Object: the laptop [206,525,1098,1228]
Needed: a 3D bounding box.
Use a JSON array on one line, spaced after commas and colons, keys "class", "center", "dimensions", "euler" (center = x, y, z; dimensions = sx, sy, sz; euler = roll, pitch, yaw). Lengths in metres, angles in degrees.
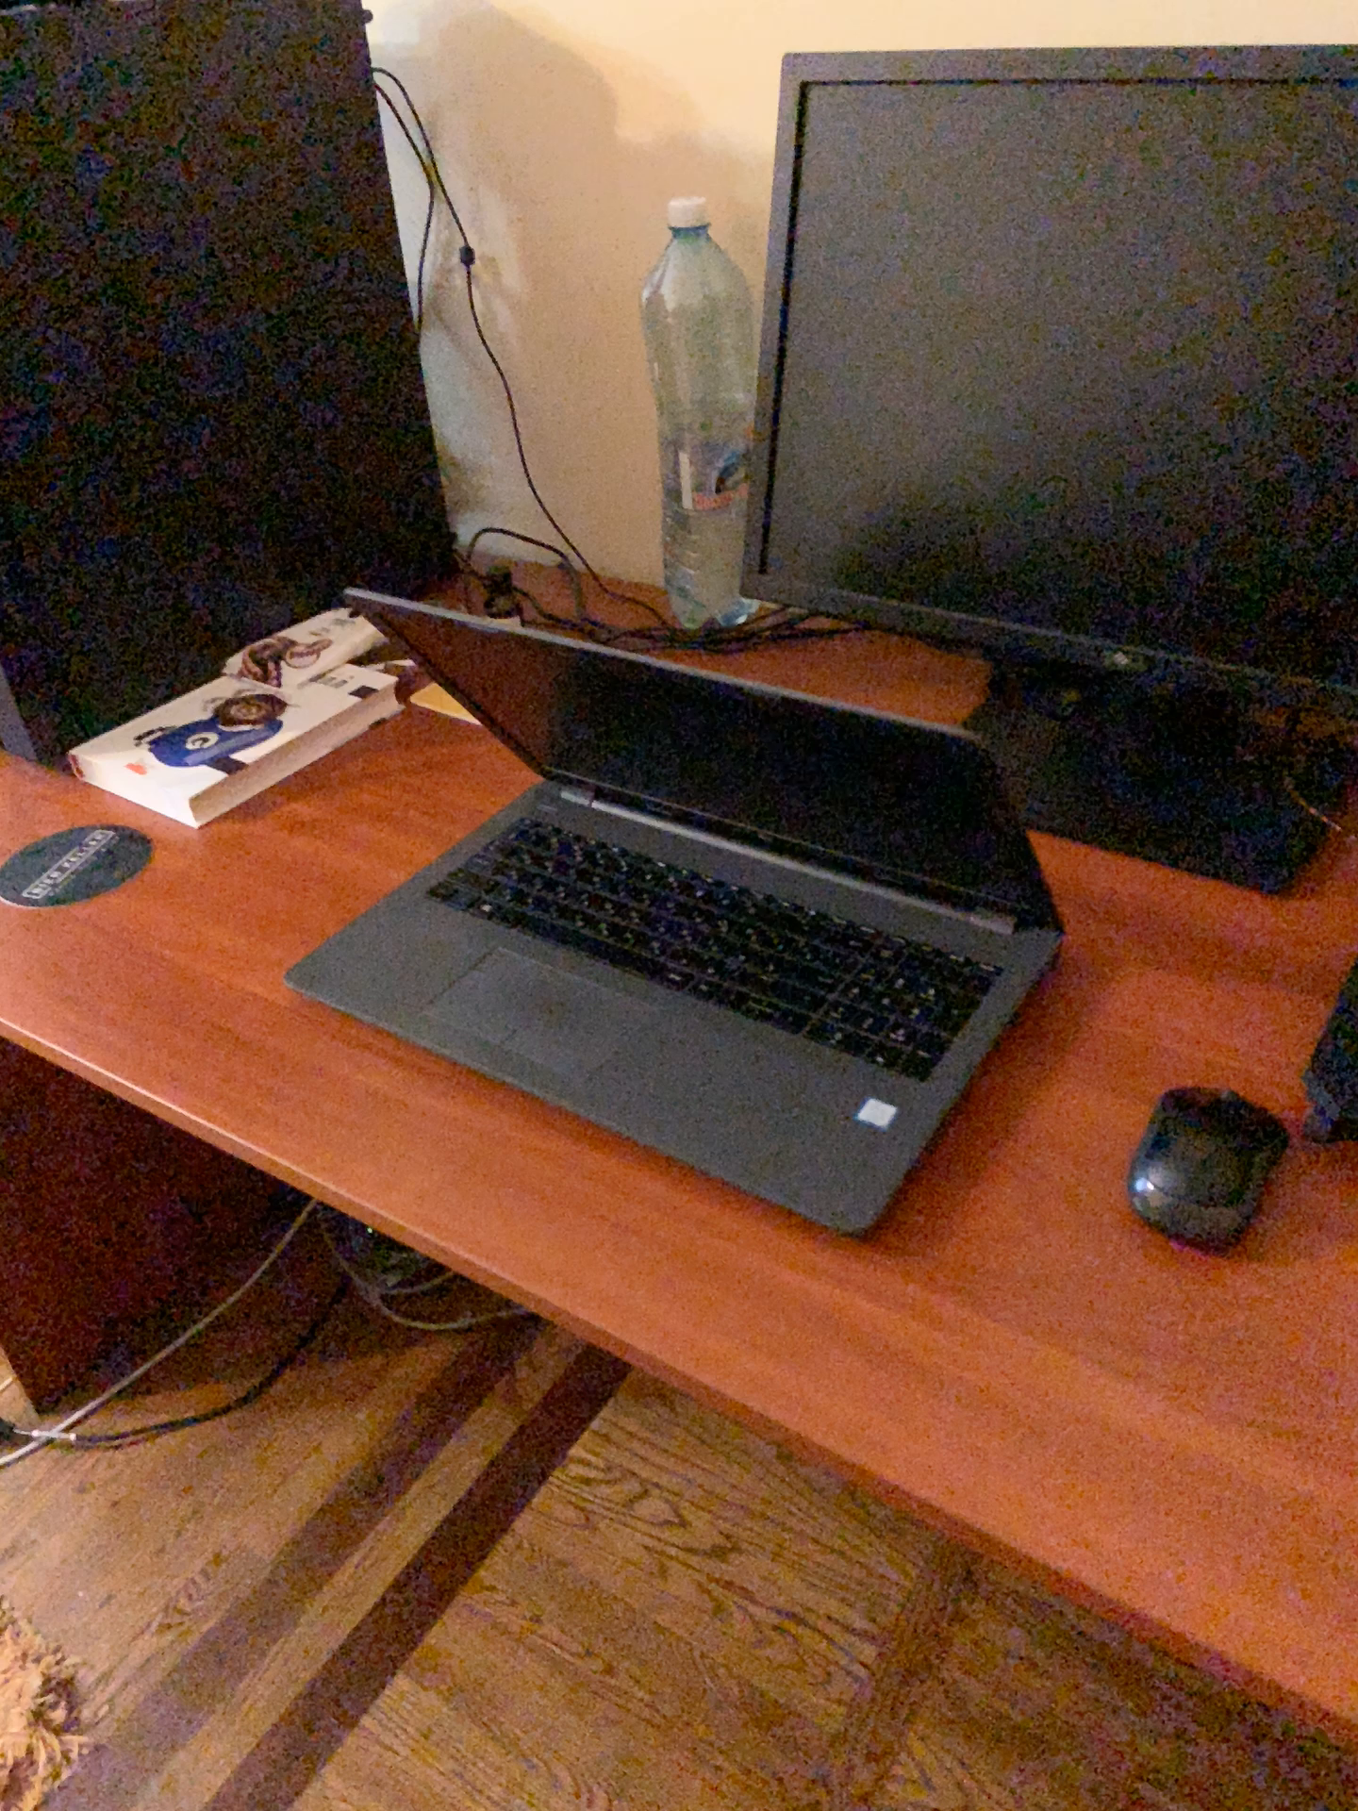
[{"class": "laptop", "center": [-0.013, -0.047, 0.749], "dimensions": [0.386, 0.193, 0.245], "euler": [18, 41, 30]}]
